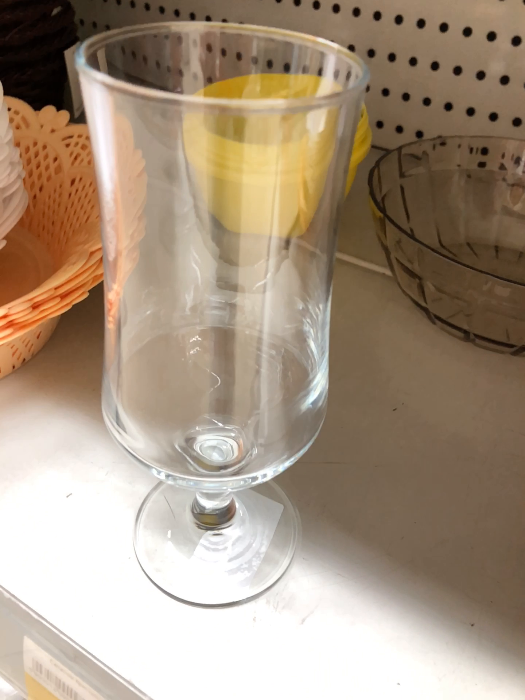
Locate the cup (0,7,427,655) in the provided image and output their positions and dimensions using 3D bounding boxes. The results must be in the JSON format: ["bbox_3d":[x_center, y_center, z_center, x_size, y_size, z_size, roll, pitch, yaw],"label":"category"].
[{"bbox_3d":[-0.011,0.008,0.194,0.078,0.194,0.076,2,39,-2],"label":"cup"}]
